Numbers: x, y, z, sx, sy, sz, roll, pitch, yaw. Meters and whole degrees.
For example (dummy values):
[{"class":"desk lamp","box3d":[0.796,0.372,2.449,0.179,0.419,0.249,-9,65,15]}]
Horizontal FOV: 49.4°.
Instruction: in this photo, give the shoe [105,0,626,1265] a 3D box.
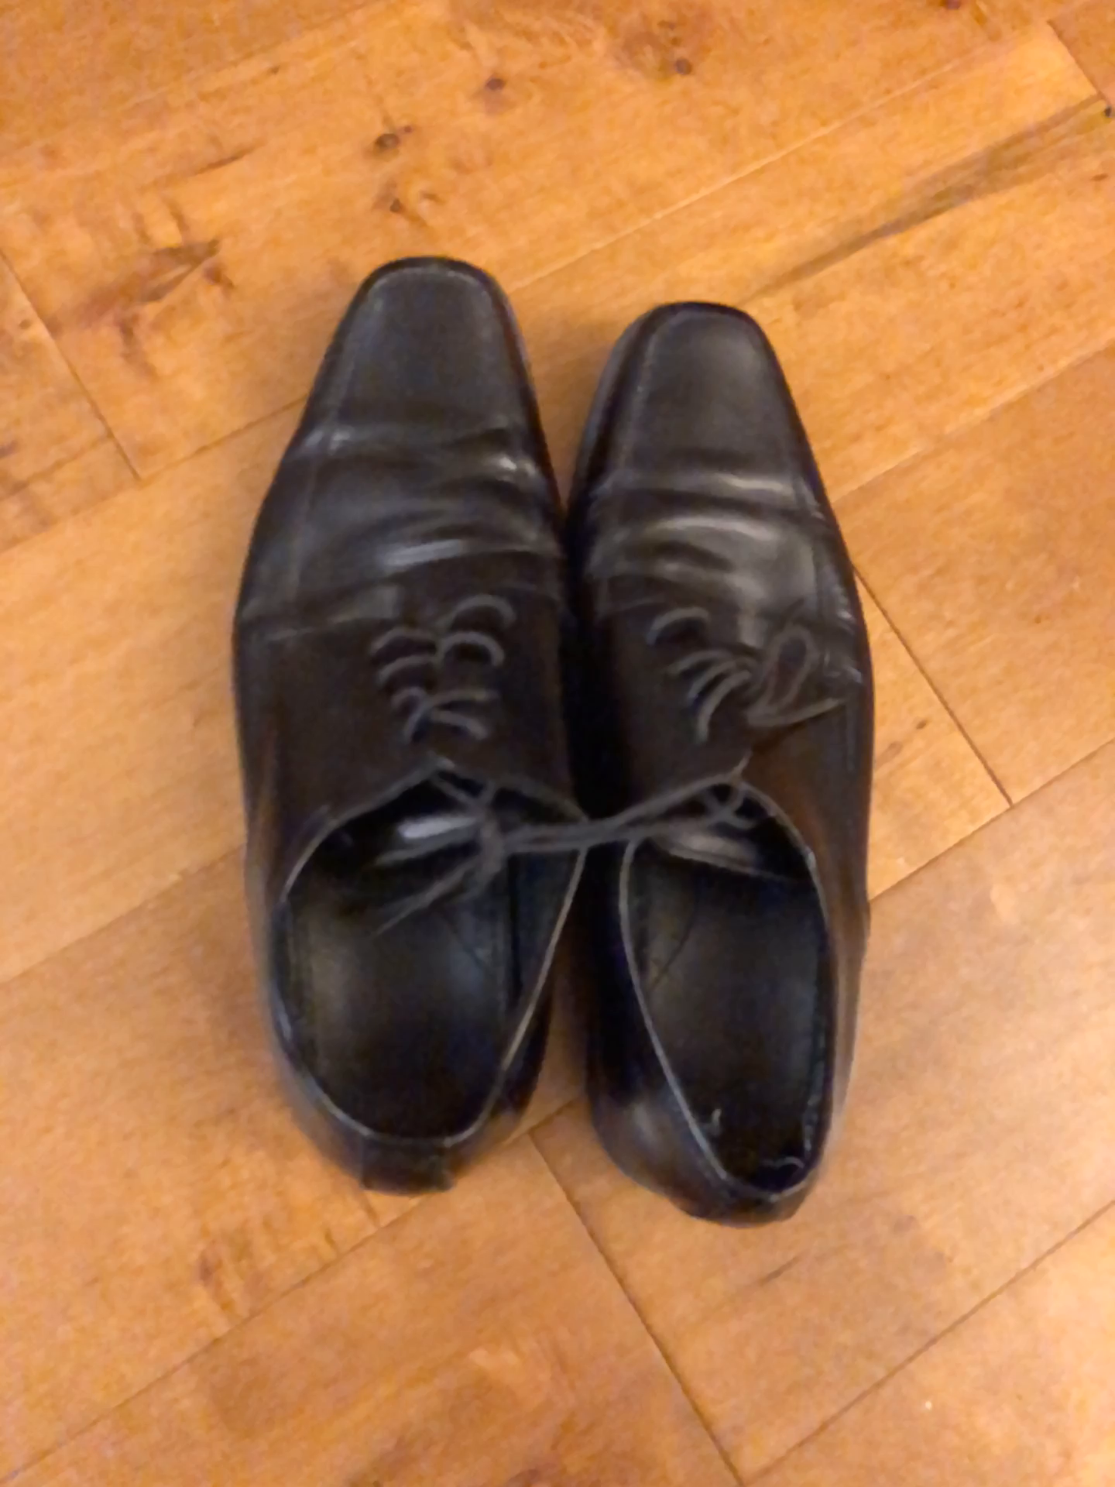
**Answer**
[{"class":"shoe","box3d":[-0.046,-0.028,0.356,0.110,0.130,0.310,2,79,-6]}]

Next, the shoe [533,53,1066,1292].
[{"class":"shoe","box3d":[0.056,-0.018,0.364,0.110,0.130,0.310,2,79,-6]}]
